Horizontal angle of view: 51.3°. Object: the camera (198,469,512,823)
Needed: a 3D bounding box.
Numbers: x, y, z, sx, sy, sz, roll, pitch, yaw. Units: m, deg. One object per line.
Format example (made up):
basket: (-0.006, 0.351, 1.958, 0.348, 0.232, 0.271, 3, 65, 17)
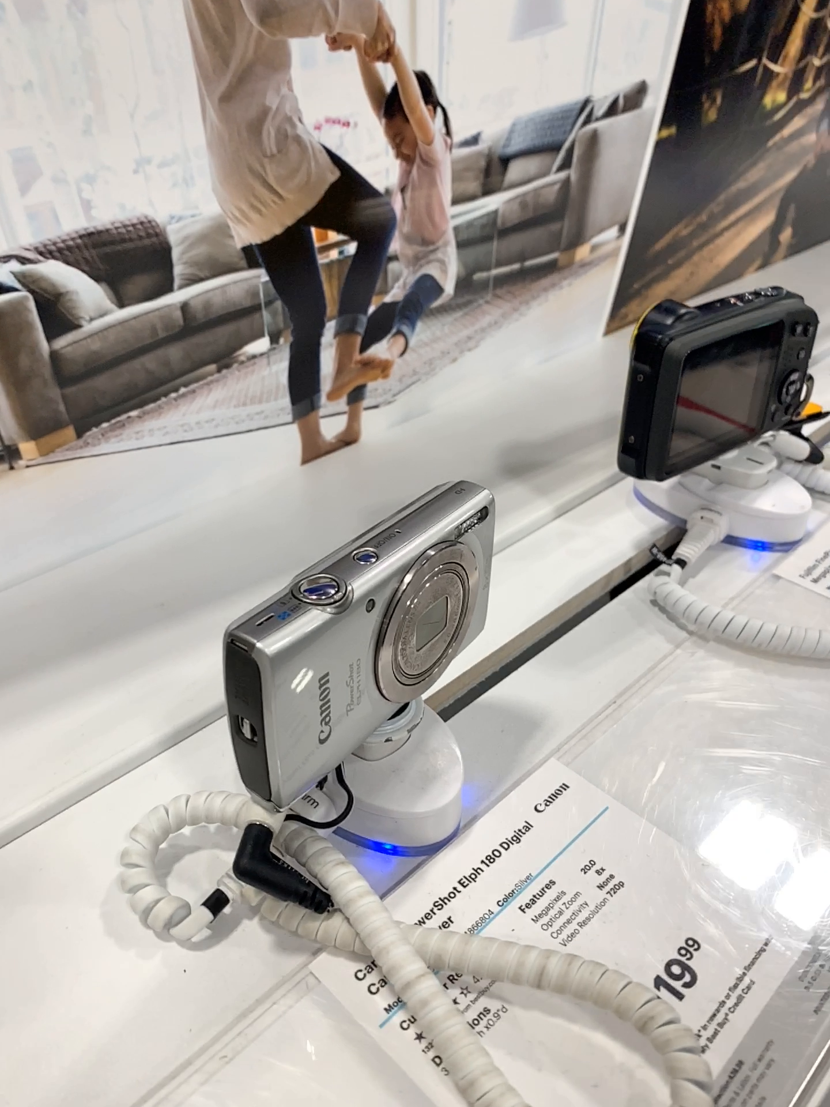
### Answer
camera: (-0.013, 0.021, 0.238, 0.022, 0.051, 0.099, 28, 42, 27)
